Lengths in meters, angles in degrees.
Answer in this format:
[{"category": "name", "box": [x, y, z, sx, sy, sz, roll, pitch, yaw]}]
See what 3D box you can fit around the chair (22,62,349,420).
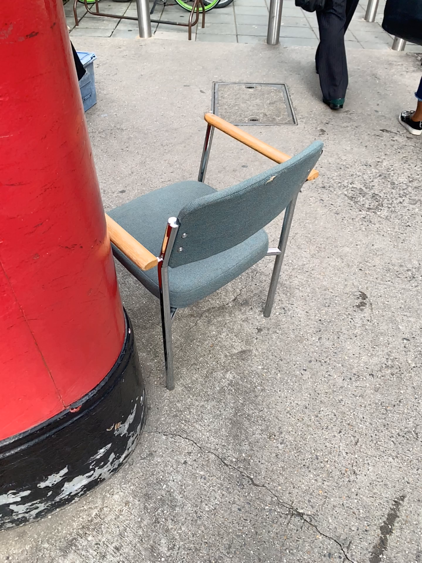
[{"category": "chair", "box": [-0.069, -0.136, 1.301, 0.559, 0.739, 0.573, -33, 53, -29]}]
